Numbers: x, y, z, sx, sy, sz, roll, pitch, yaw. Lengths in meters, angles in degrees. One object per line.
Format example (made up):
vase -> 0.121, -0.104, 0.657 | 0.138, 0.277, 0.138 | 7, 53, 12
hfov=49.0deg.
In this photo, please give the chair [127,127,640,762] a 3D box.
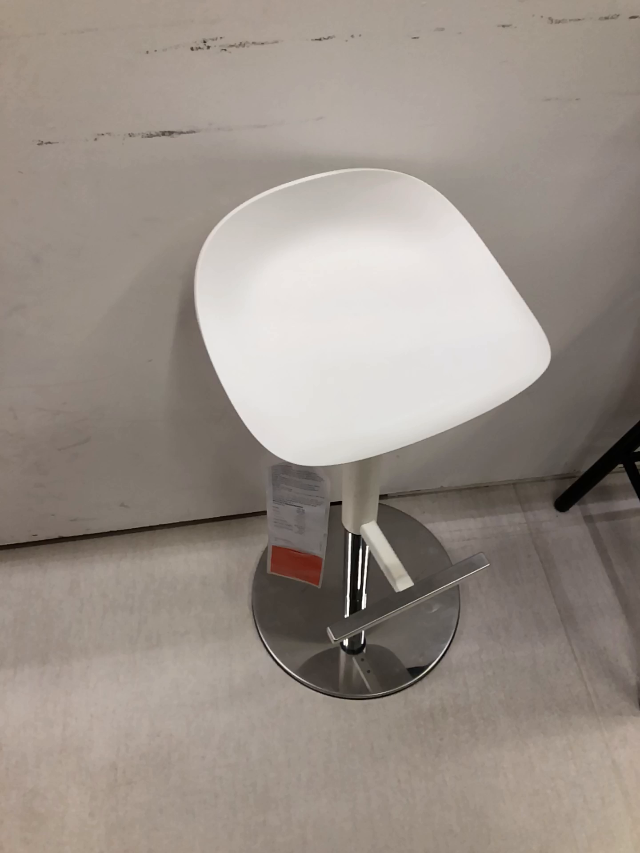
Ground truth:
chair -> 0.078, 0.070, 1.073 | 0.440, 0.746, 0.512 | -22, 55, -15
